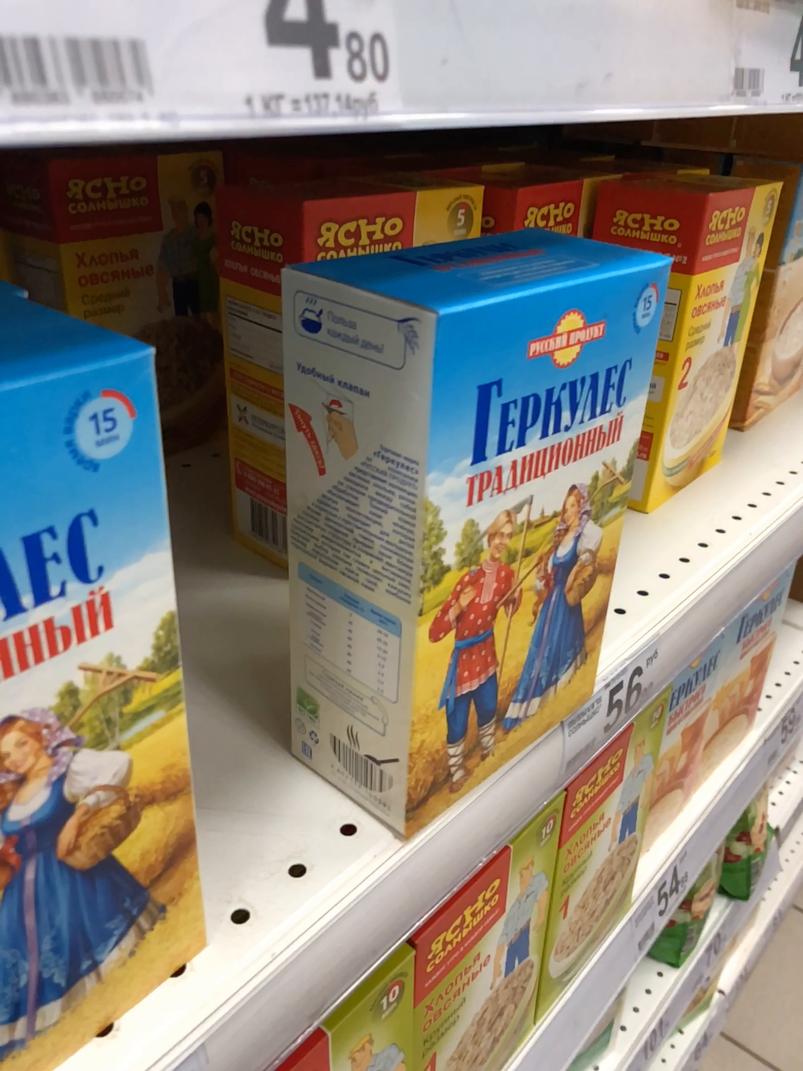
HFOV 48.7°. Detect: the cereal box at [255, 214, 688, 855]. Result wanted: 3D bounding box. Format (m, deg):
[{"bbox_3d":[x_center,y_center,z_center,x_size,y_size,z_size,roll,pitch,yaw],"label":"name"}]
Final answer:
[{"bbox_3d":[0.023,-0.007,0.323,0.070,0.189,0.130,25,35,36],"label":"cereal box"}]
